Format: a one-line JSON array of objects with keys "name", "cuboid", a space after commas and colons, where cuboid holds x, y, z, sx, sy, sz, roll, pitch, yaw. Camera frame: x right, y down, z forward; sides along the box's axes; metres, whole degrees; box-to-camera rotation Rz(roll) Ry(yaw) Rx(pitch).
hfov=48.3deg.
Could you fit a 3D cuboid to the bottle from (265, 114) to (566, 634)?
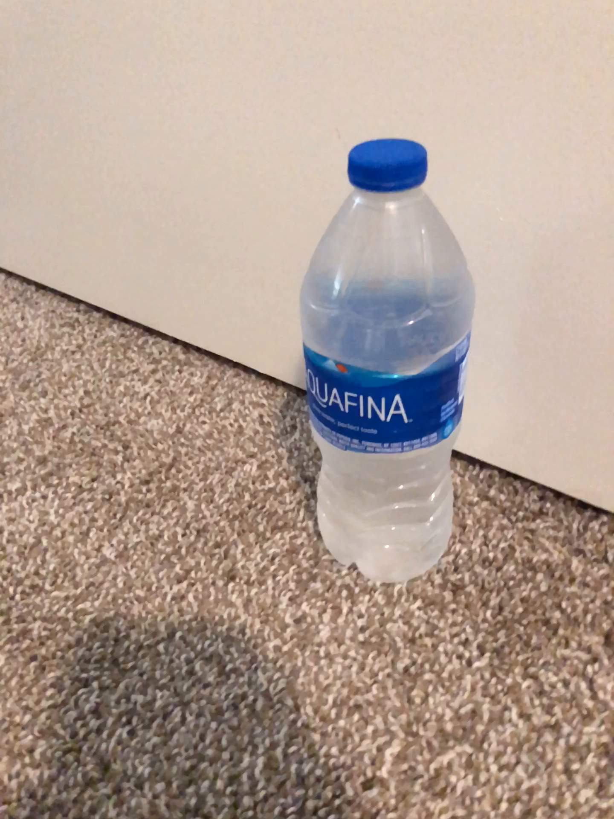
[{"name": "bottle", "cuboid": [0.039, -0.008, 0.279, 0.070, 0.189, 0.070, -2, 38, 1]}]
